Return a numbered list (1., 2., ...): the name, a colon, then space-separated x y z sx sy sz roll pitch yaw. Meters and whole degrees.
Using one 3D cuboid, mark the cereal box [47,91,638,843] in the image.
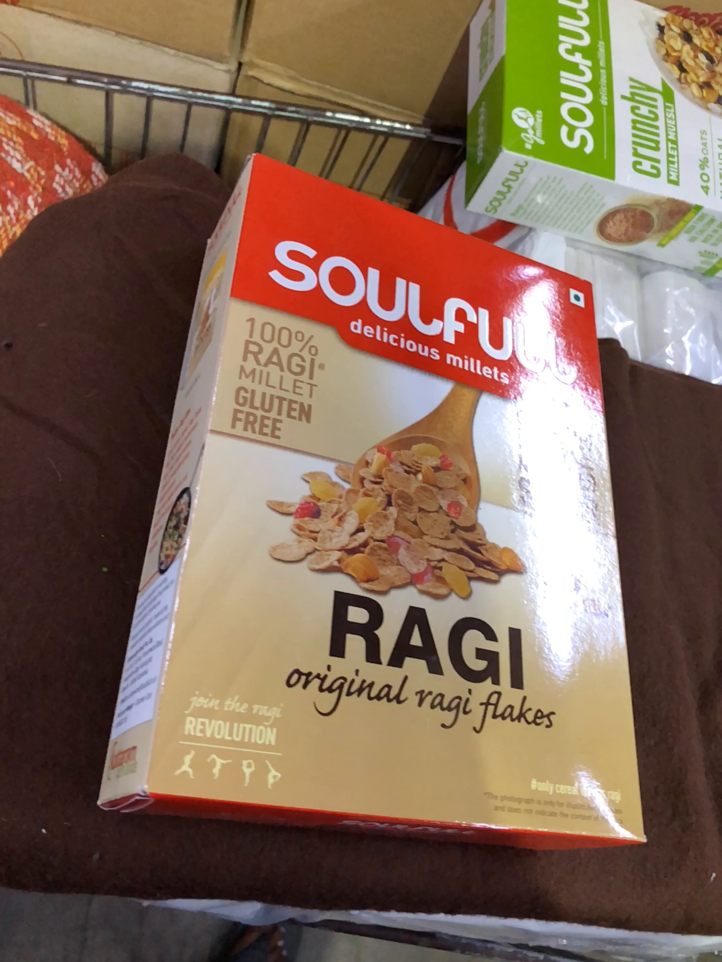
1. cereal box: 0.004 -0.006 0.291 0.170 0.050 0.241 14 62 -21
